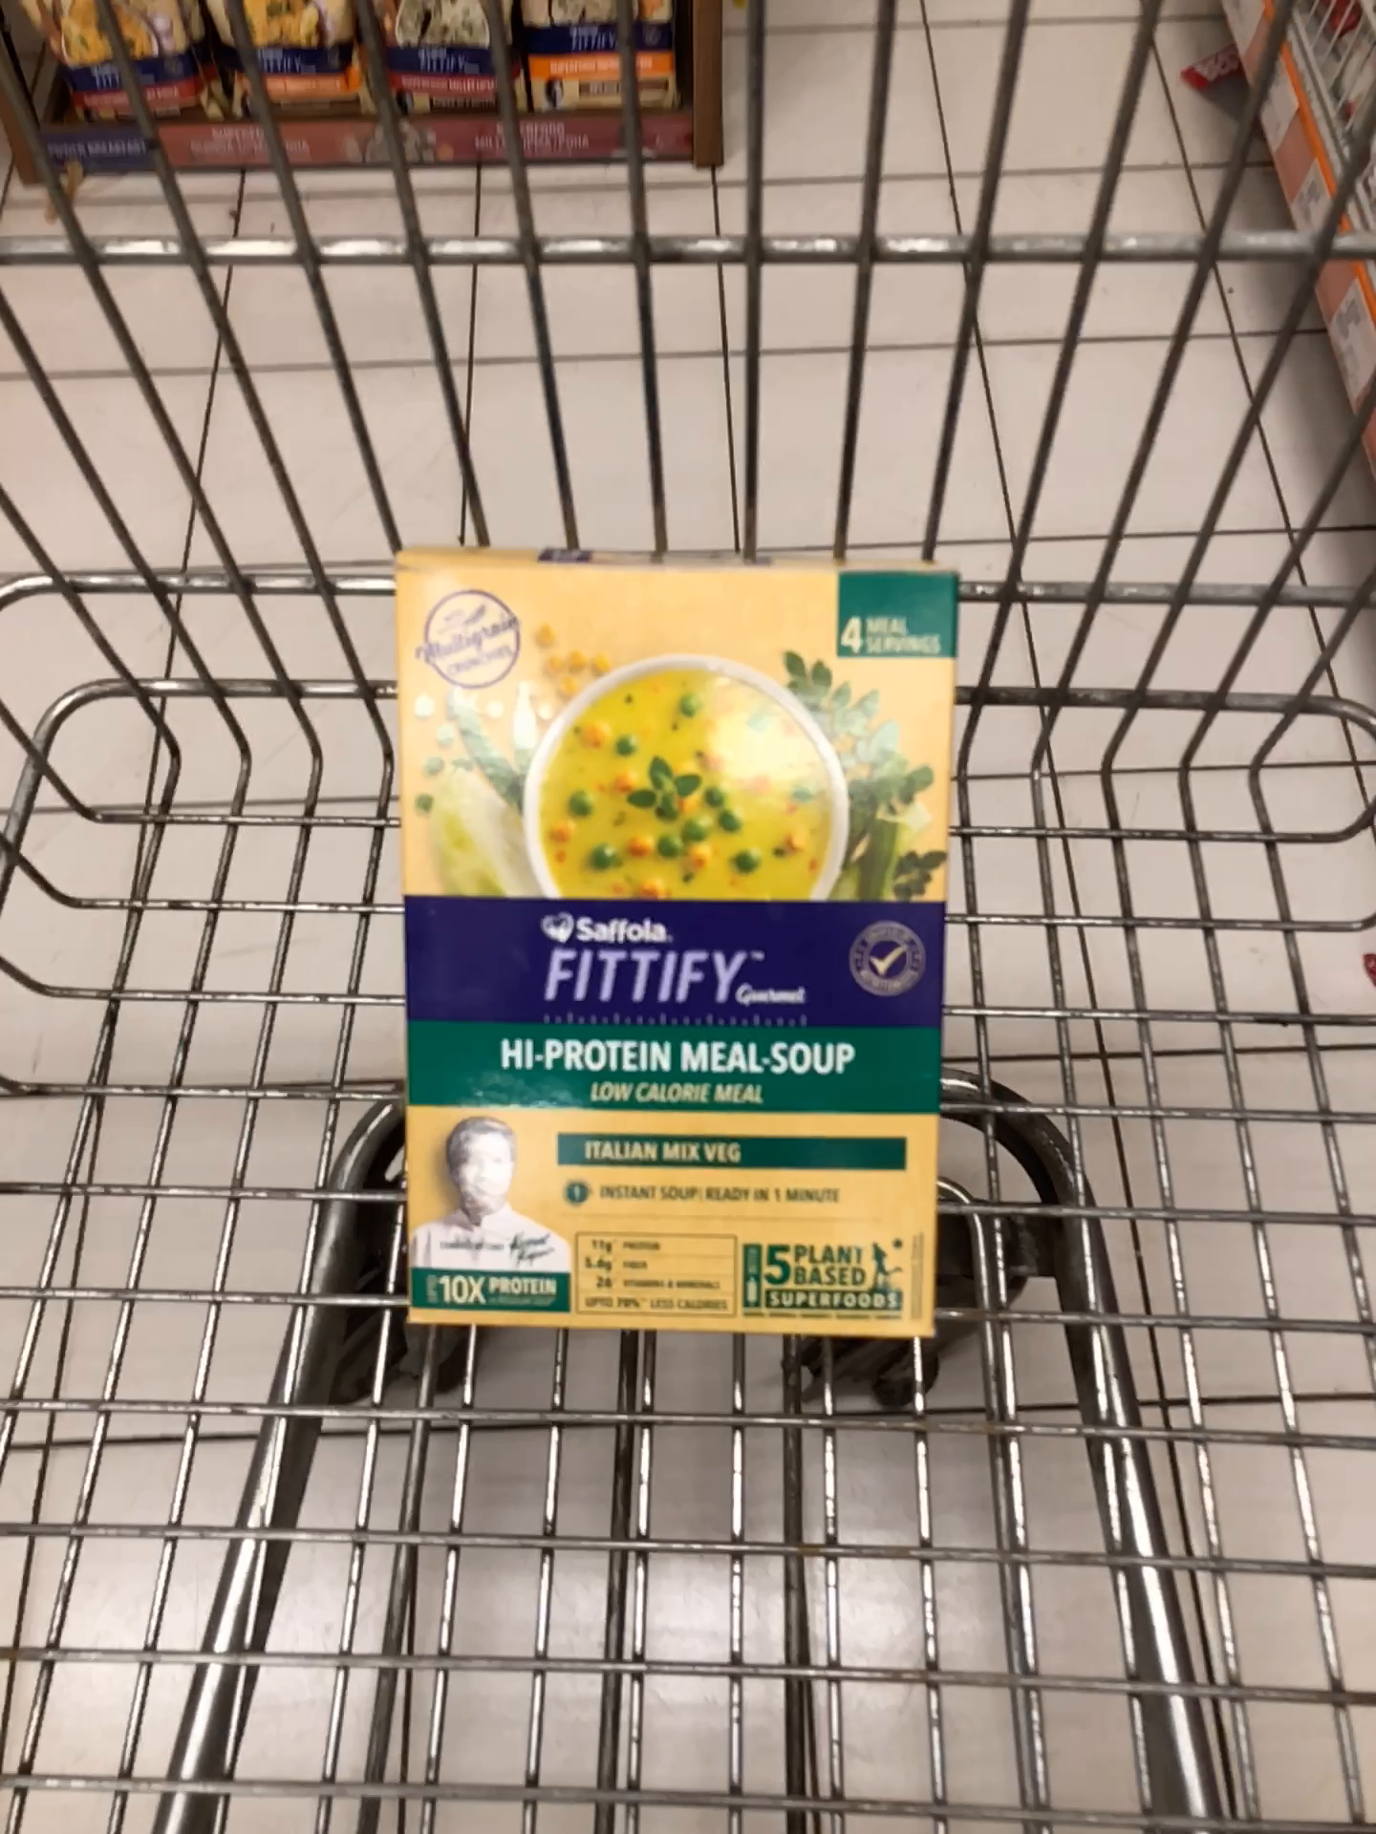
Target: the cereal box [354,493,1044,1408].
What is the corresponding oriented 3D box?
[{"bbox_3d":[0.002,0.003,0.342,0.130,0.090,0.180,1,98,2],"label":"cereal box"}]
